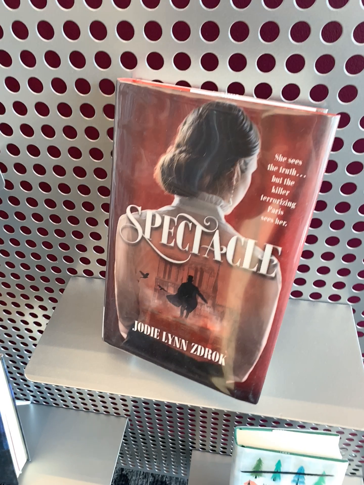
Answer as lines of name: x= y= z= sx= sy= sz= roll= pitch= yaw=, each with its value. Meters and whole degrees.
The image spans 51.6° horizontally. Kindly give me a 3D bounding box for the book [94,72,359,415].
book: x=0.017 y=-0.002 z=0.280 sx=0.154 sy=0.211 sz=0.059 roll=16 pitch=26 yaw=20
